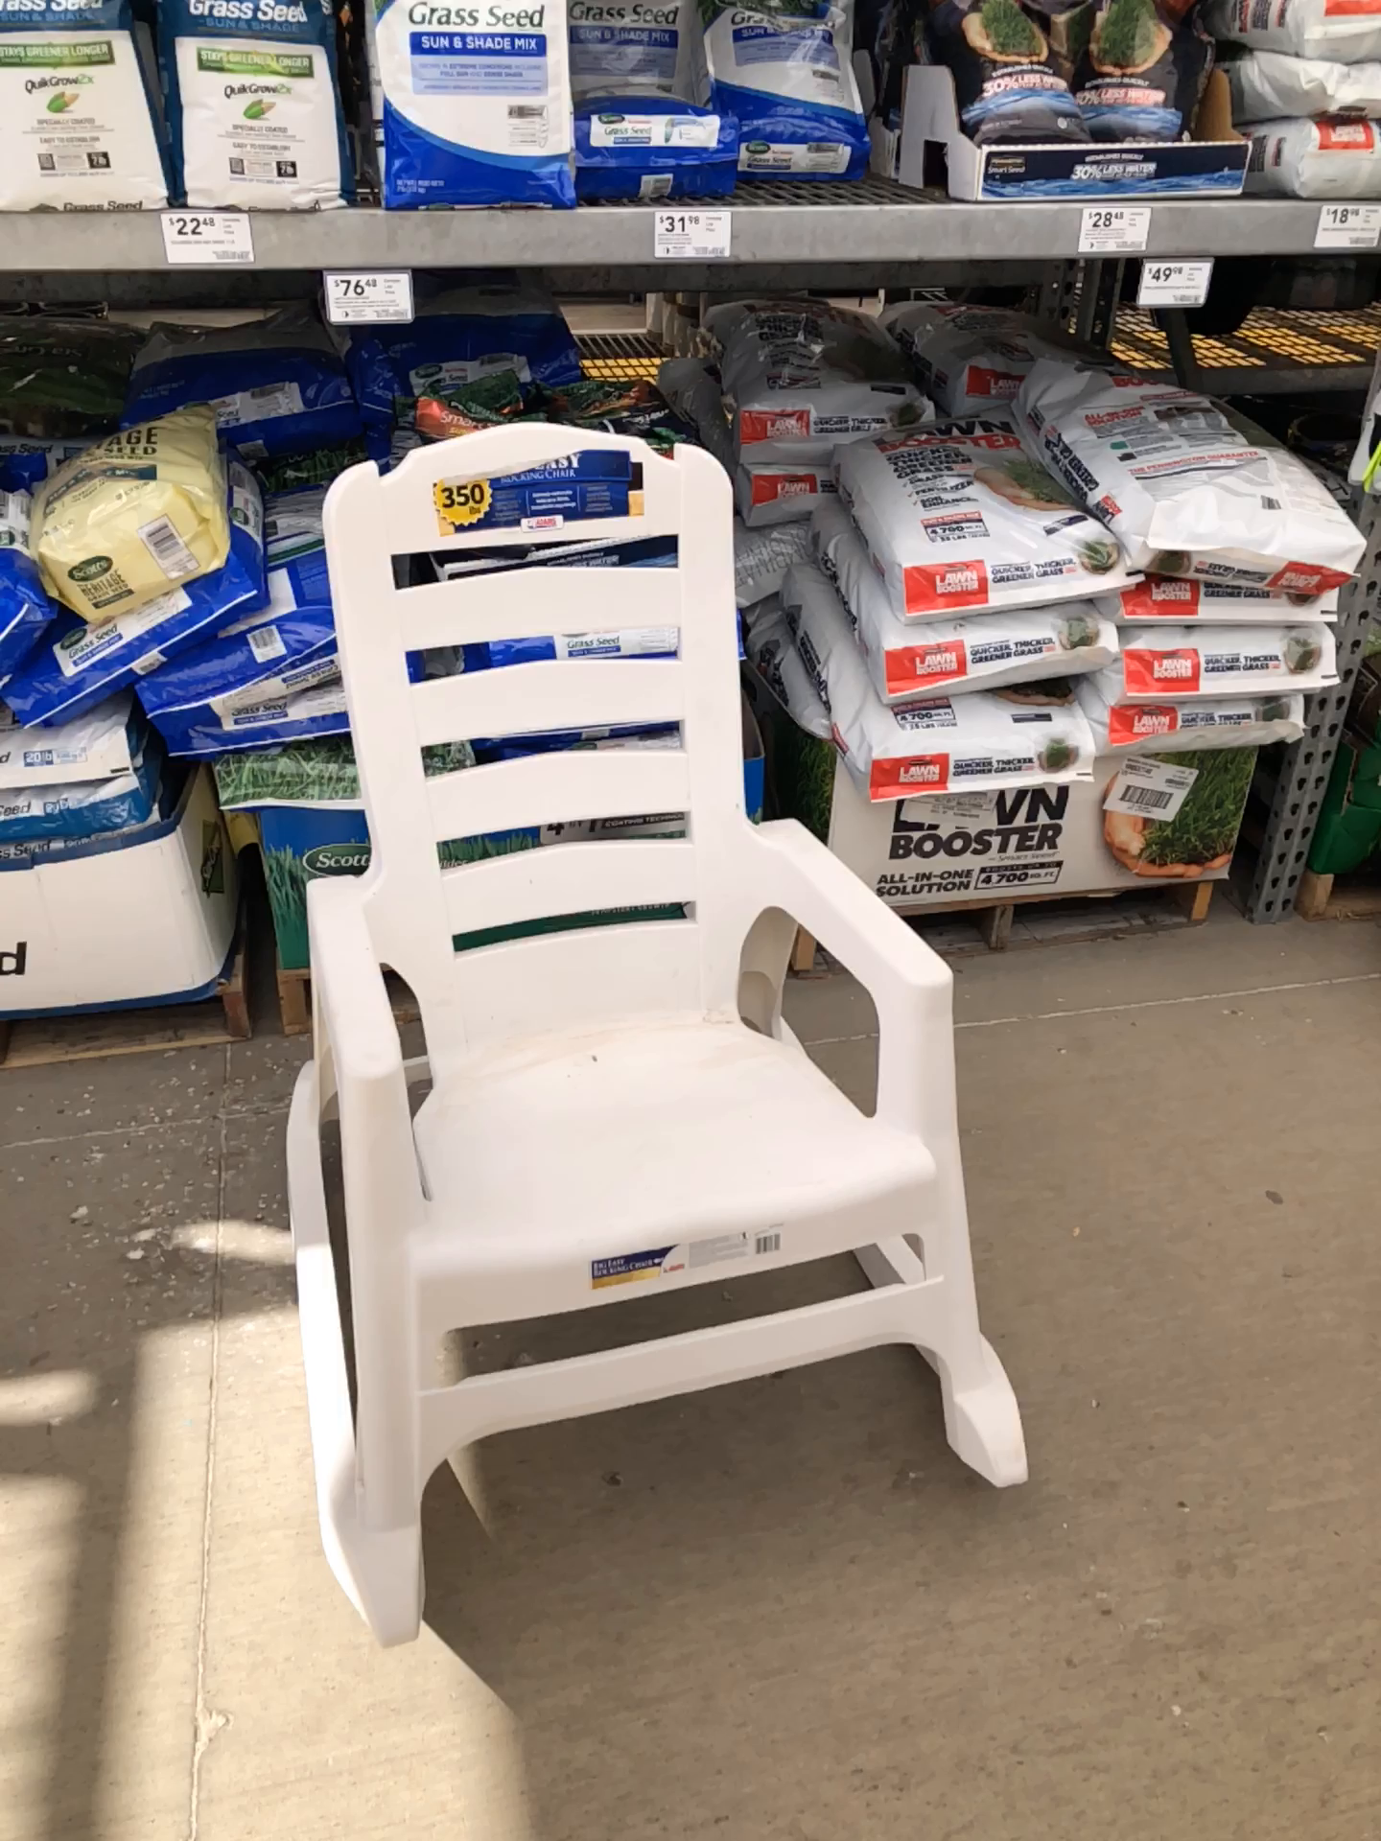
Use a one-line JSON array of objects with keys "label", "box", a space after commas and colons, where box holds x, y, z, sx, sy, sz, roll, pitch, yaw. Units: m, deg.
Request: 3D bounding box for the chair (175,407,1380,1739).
[{"label": "chair", "box": [-0.058, 0.028, 1.666, 0.845, 0.927, 1.036, -7, 31, -16]}]
